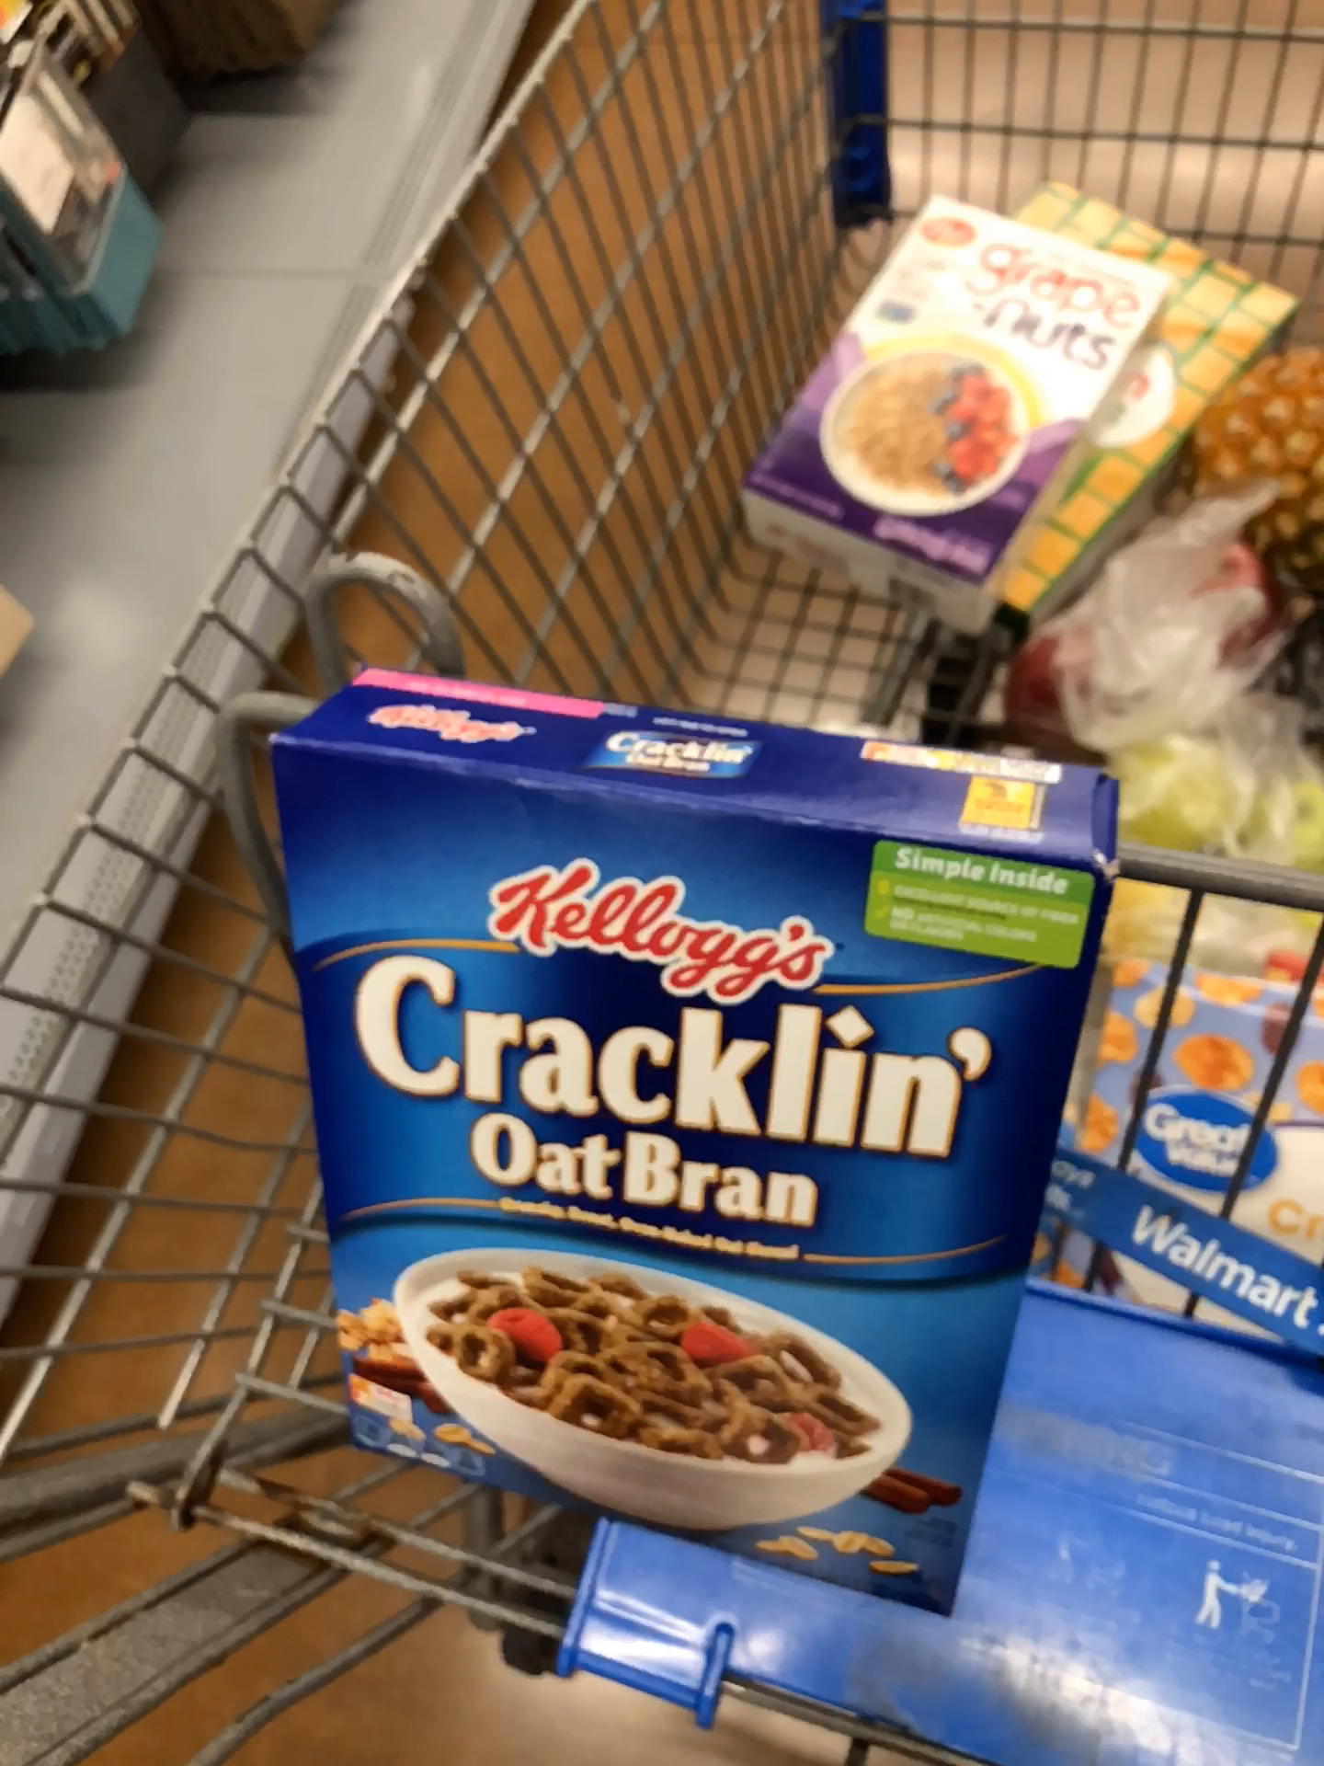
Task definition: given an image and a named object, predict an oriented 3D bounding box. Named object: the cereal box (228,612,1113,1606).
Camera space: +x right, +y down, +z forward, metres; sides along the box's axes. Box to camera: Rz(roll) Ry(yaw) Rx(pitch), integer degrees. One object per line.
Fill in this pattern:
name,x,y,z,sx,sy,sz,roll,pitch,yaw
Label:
cereal box,-0.001,0.069,0.408,0.200,0.260,0.050,9,30,14
